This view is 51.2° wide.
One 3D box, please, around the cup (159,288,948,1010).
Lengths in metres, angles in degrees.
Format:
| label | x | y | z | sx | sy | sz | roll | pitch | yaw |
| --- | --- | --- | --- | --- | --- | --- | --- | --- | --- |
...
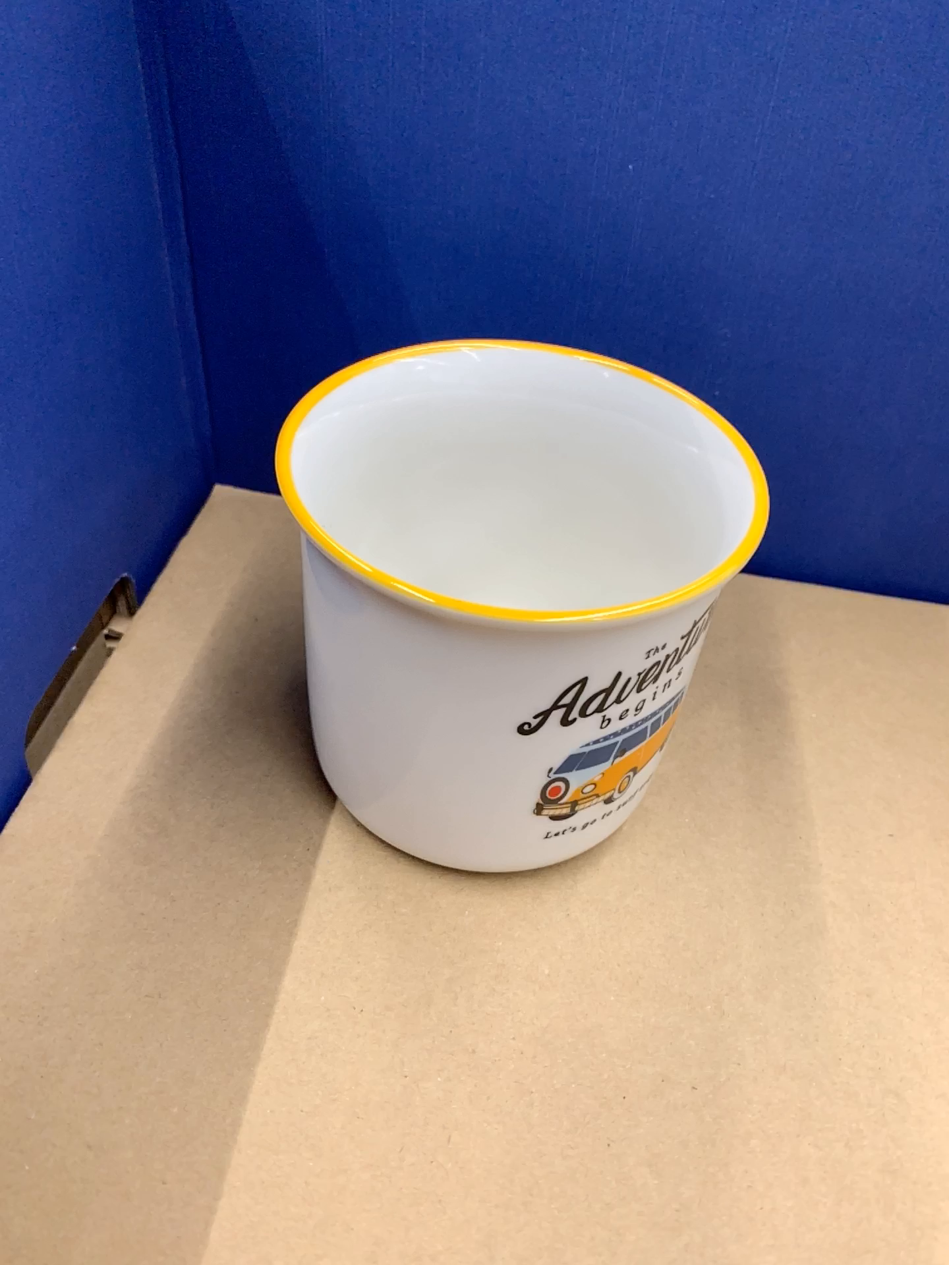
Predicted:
| label | x | y | z | sx | sy | sz | roll | pitch | yaw |
| --- | --- | --- | --- | --- | --- | --- | --- | --- | --- |
| cup | 0.014 | -0.008 | 0.226 | 0.124 | 0.083 | 0.102 | -24 | 49 | -29 |
